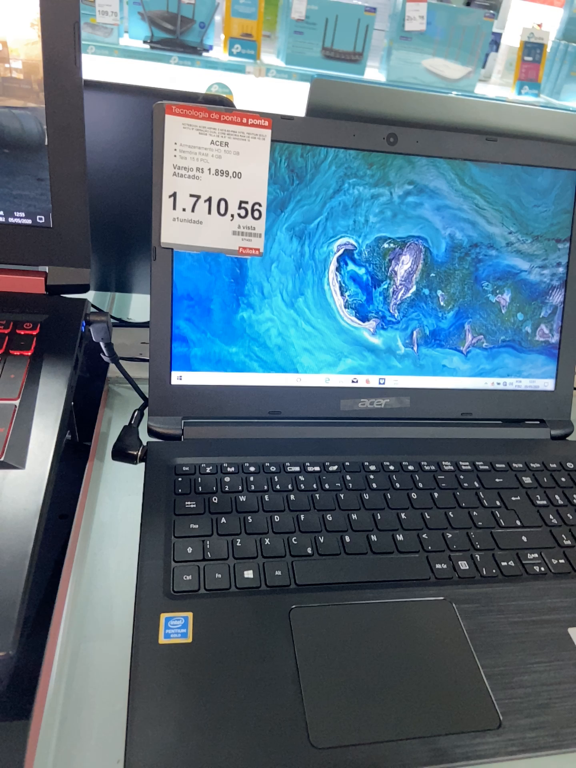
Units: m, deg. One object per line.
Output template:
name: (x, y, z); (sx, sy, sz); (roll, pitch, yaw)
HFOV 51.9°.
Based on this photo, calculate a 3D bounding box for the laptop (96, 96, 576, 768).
laptop: (0.095, -0.013, 0.394); (0.377, 0.216, 0.382); (1, 36, -12)
